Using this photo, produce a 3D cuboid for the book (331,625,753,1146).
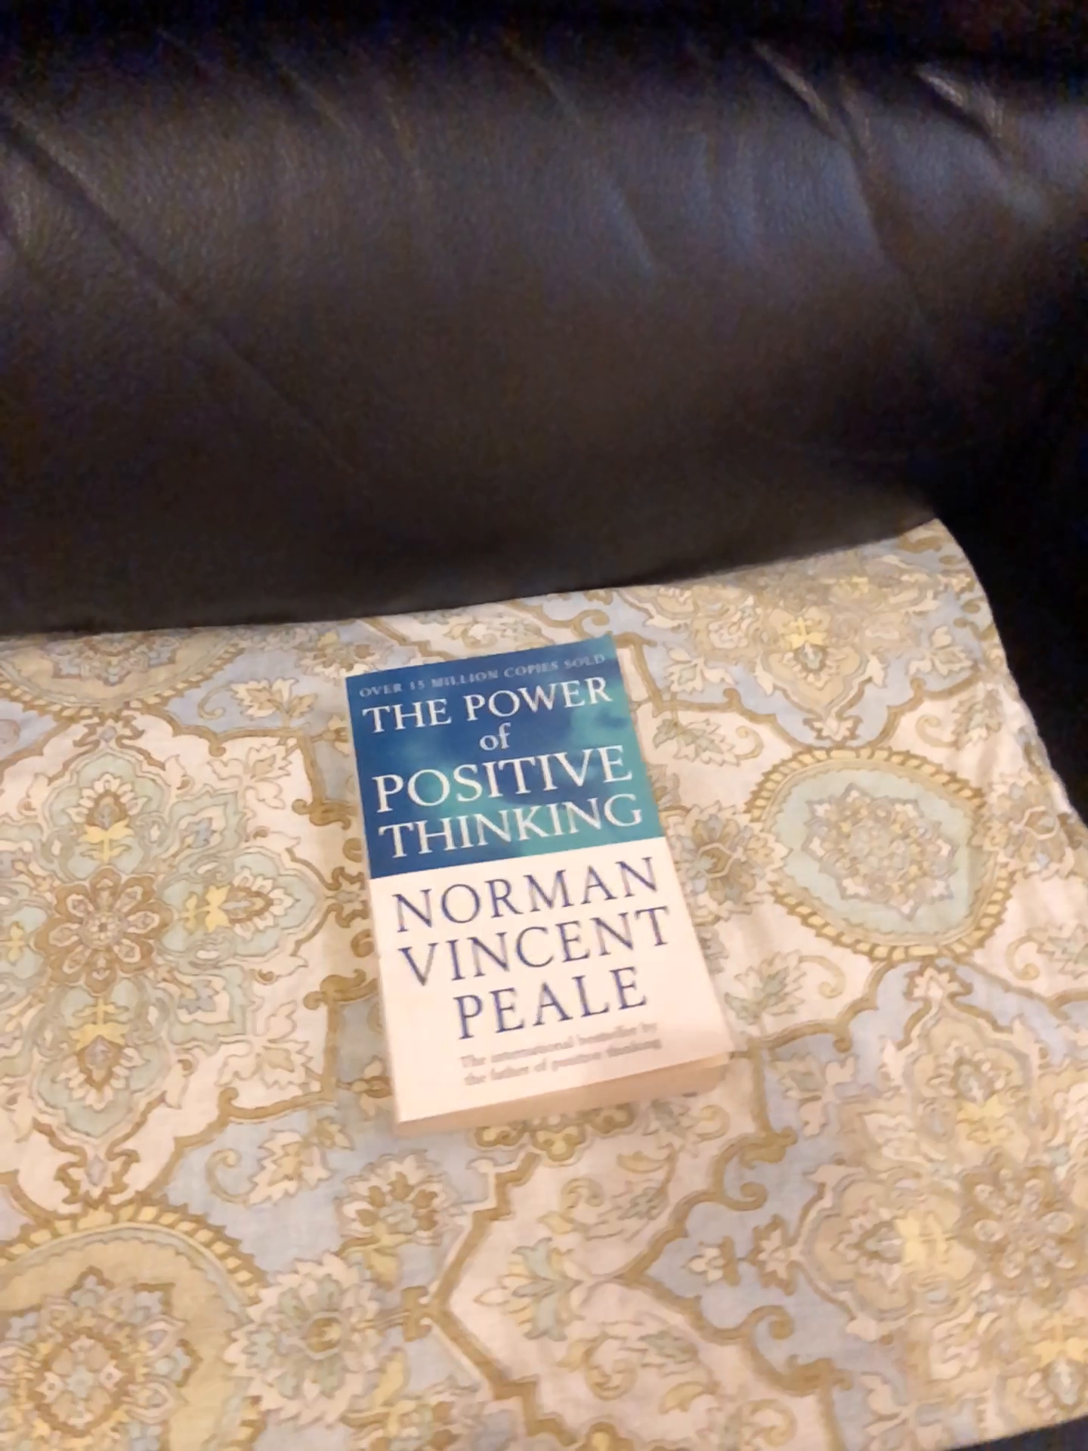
[{"bbox_3d":[-0.008,0.051,0.455,0.120,0.030,0.183,-8,59,-10],"label":"book"}]
